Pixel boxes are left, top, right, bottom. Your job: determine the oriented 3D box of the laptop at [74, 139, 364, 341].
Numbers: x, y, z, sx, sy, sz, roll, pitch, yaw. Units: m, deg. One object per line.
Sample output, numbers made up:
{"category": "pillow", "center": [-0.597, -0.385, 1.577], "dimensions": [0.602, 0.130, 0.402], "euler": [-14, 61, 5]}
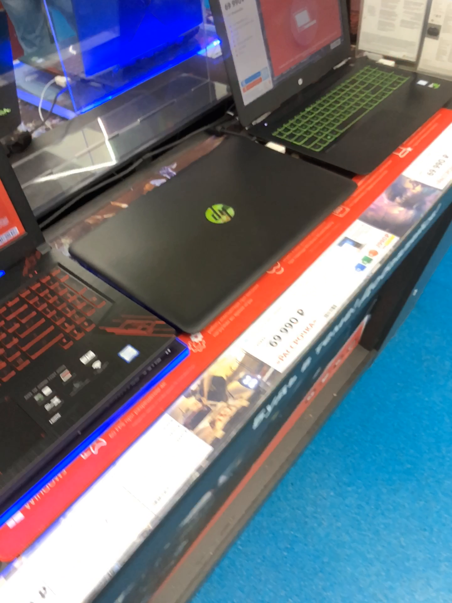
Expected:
{"category": "laptop", "center": [0.002, -0.117, 0.723], "dimensions": [0.233, 0.012, 0.366], "euler": [32, 56, 27]}
